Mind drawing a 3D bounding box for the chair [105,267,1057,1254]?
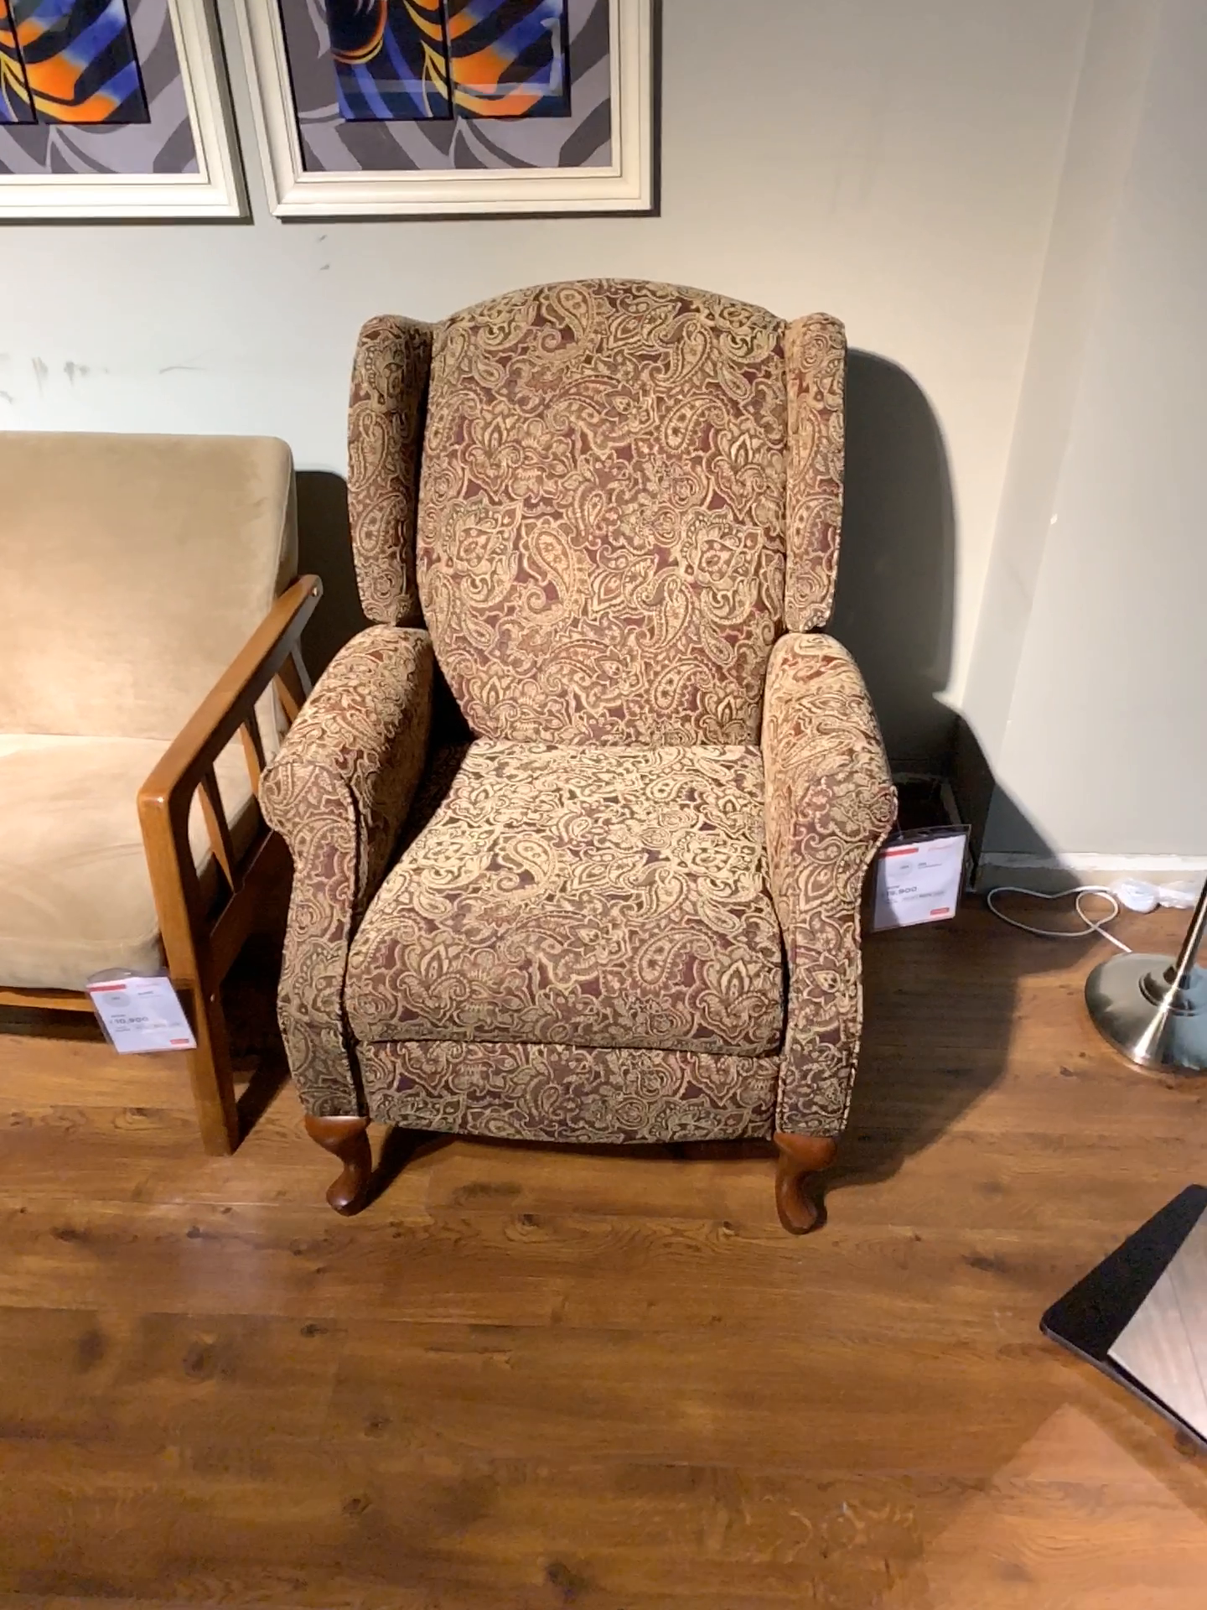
[{"bbox_3d":[0.003,-0.079,1.551,0.750,0.955,0.764,2,36,4],"label":"chair"}]
